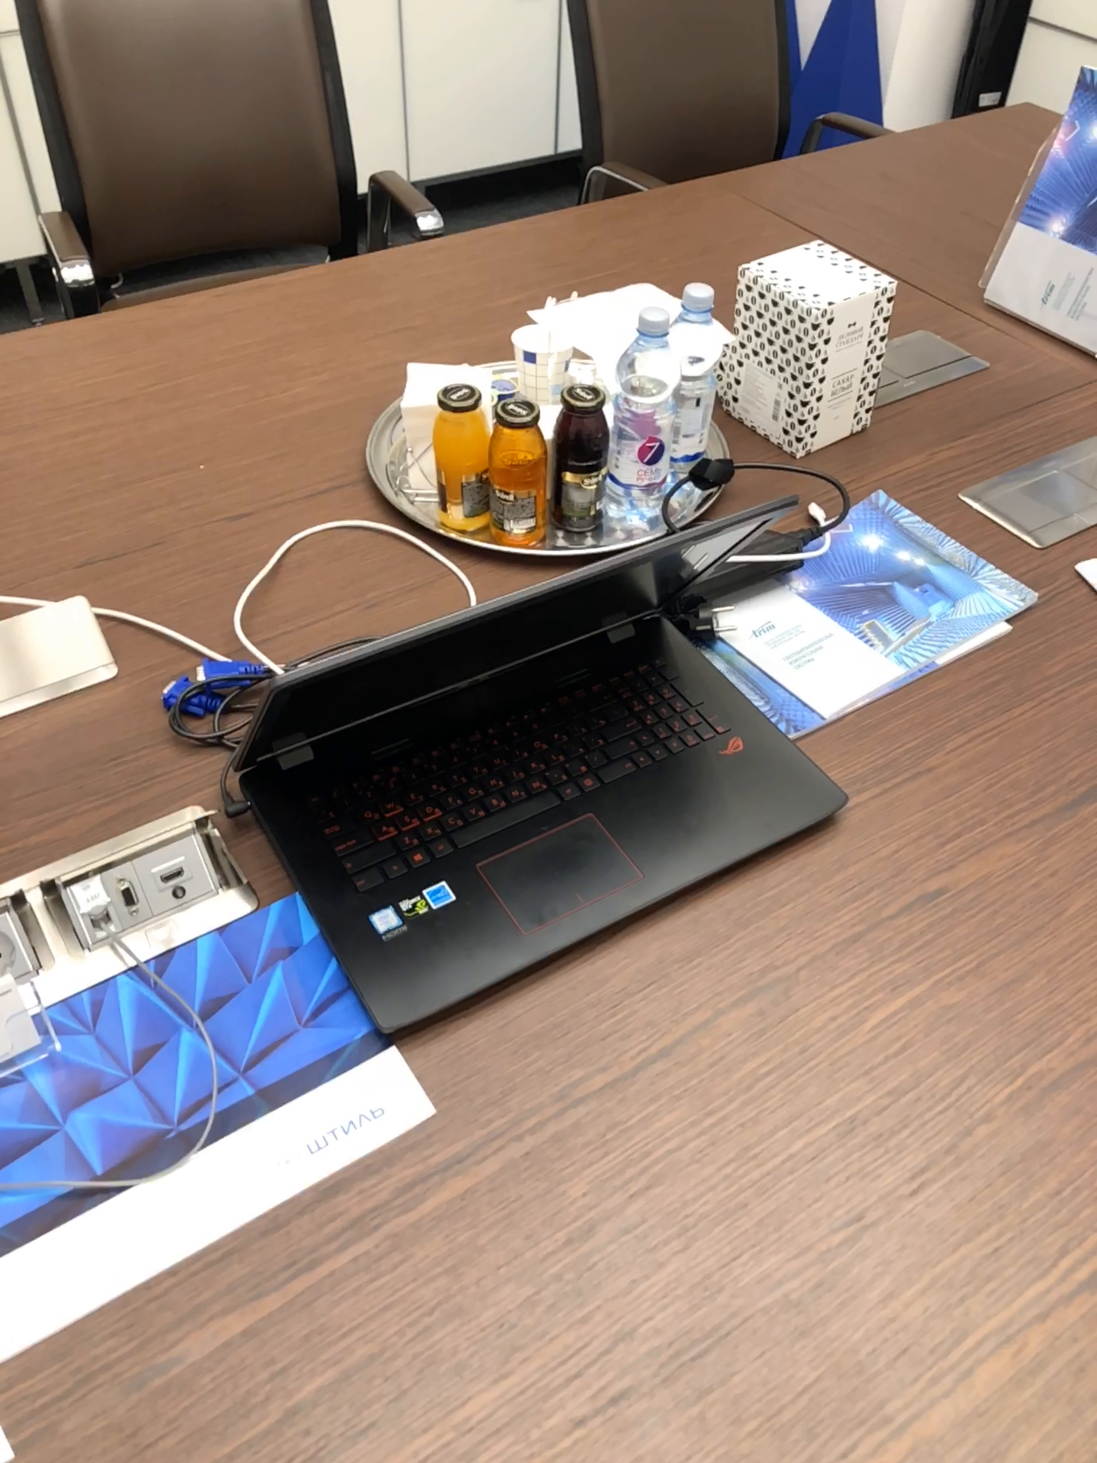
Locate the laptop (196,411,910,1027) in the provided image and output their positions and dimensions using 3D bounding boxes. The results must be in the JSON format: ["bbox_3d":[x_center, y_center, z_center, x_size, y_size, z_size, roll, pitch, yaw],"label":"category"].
[{"bbox_3d":[0.002,-0.028,0.816,0.377,0.189,0.237,-22,51,-23],"label":"laptop"}]
